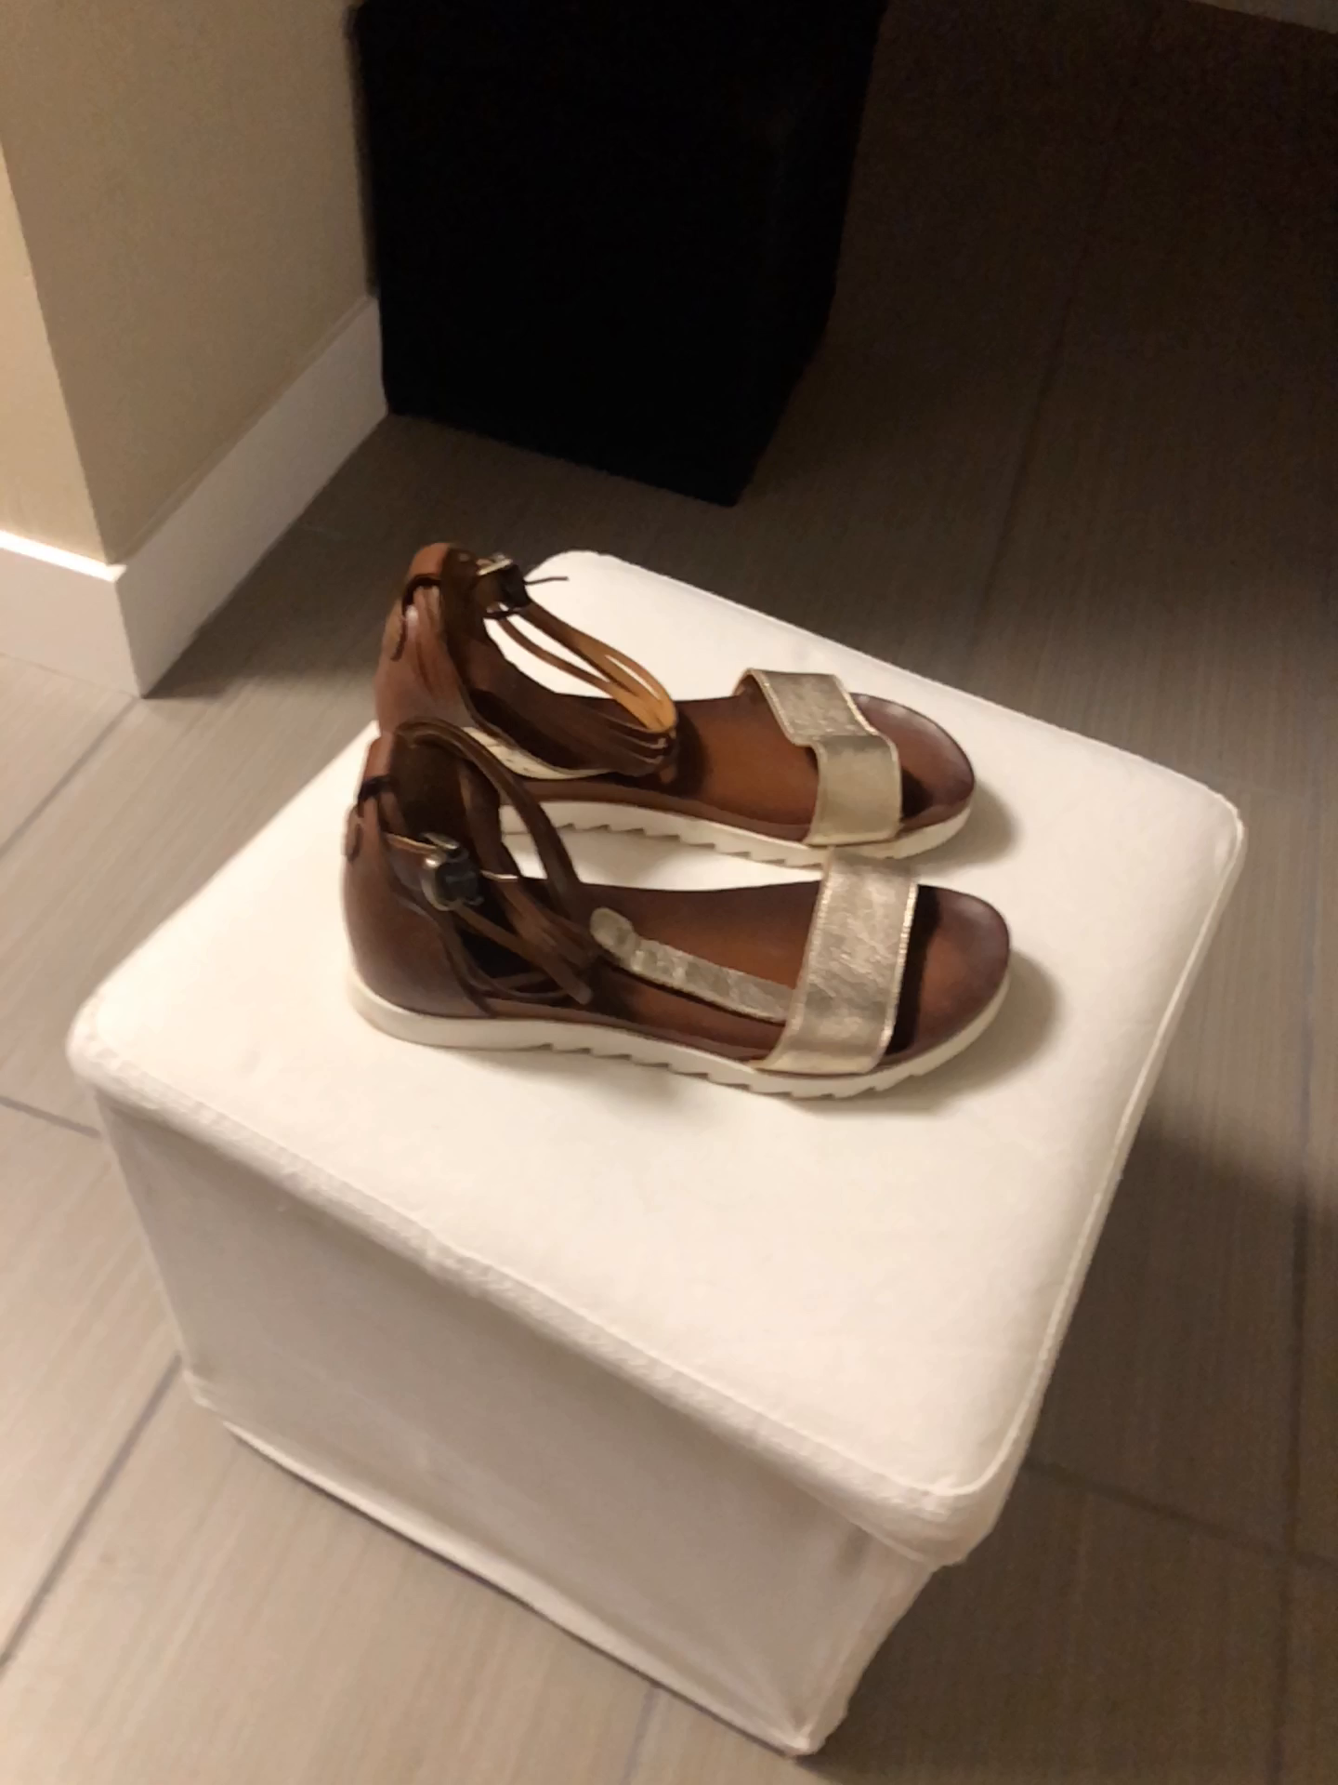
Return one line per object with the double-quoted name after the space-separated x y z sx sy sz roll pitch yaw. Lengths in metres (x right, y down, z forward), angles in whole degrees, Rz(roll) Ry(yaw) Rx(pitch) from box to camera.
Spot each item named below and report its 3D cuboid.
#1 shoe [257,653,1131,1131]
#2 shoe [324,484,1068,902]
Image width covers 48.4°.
0.007 0.000 0.511 0.260 0.090 0.110 5 49 -3 "shoe"
0.009 -0.078 0.588 0.260 0.090 0.110 5 49 -3 "shoe"
